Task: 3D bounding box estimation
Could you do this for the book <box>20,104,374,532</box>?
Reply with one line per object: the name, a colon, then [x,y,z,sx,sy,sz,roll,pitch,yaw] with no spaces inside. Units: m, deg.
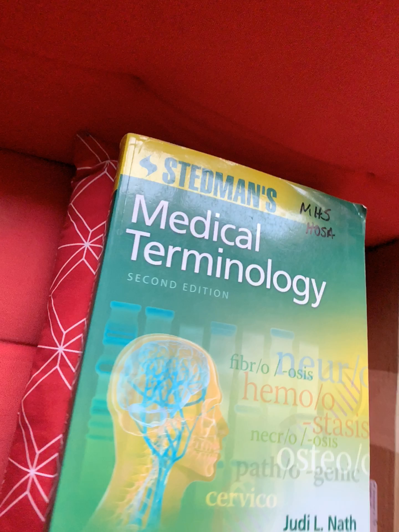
book: [0.027,0.055,0.317,0.241,0.040,0.300,14,72,-20]
